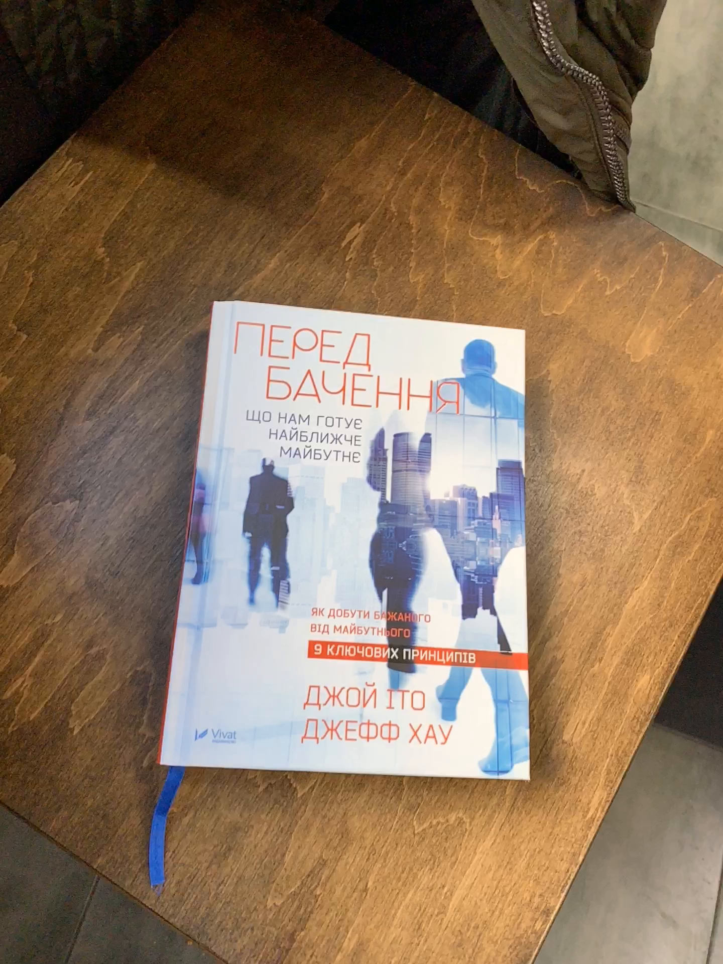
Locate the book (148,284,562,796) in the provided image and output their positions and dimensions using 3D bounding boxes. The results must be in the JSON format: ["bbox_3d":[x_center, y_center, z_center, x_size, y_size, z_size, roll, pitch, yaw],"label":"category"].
[{"bbox_3d":[0.001,0.021,0.312,0.149,0.040,0.196,4,74,-6],"label":"book"}]
